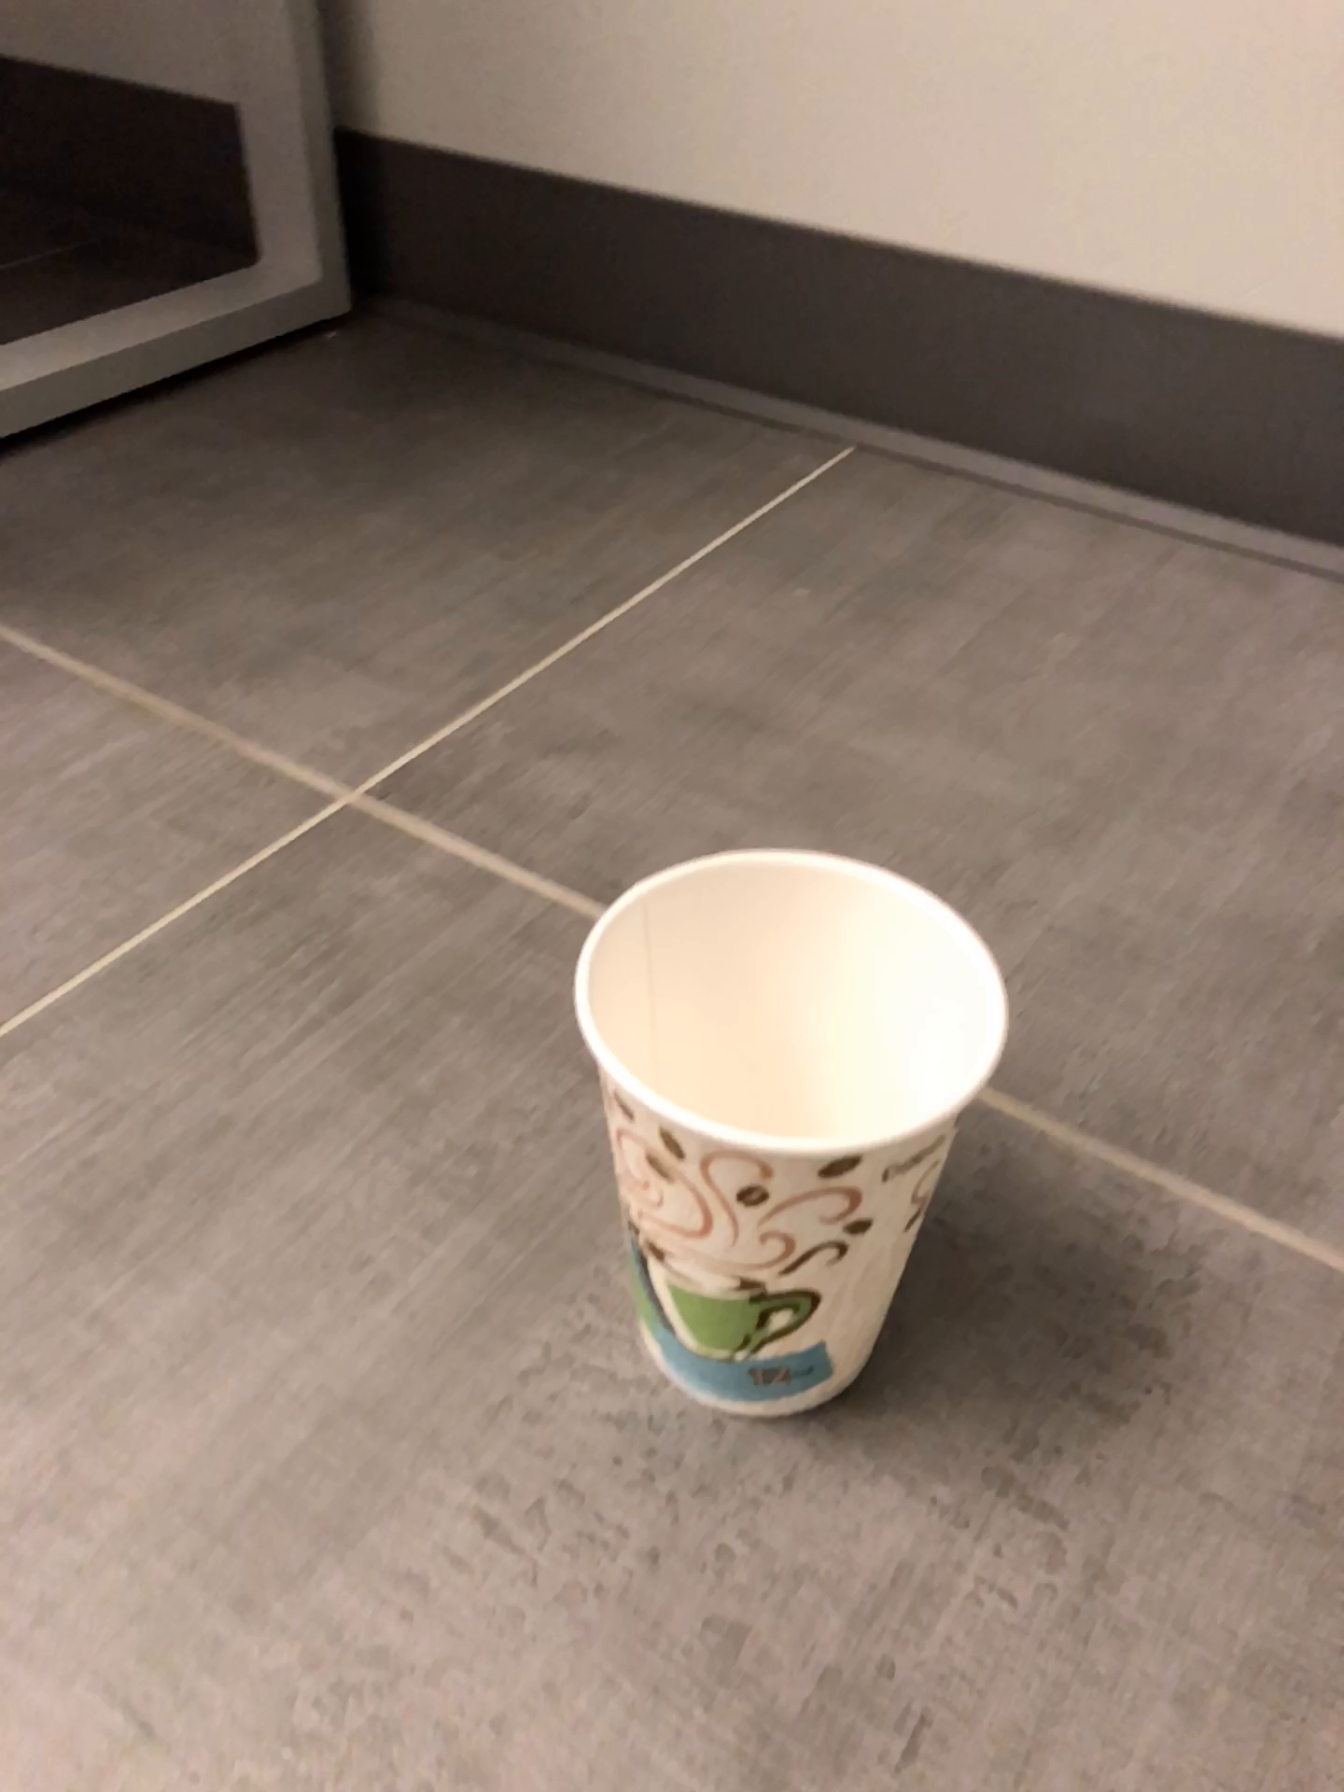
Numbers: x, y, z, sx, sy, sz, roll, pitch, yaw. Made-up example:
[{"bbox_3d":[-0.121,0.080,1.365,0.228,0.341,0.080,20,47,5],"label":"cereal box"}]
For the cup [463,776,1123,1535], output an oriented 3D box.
[{"bbox_3d":[0.024,0.053,0.332,0.100,0.099,0.090,-31,50,-34],"label":"cup"}]
